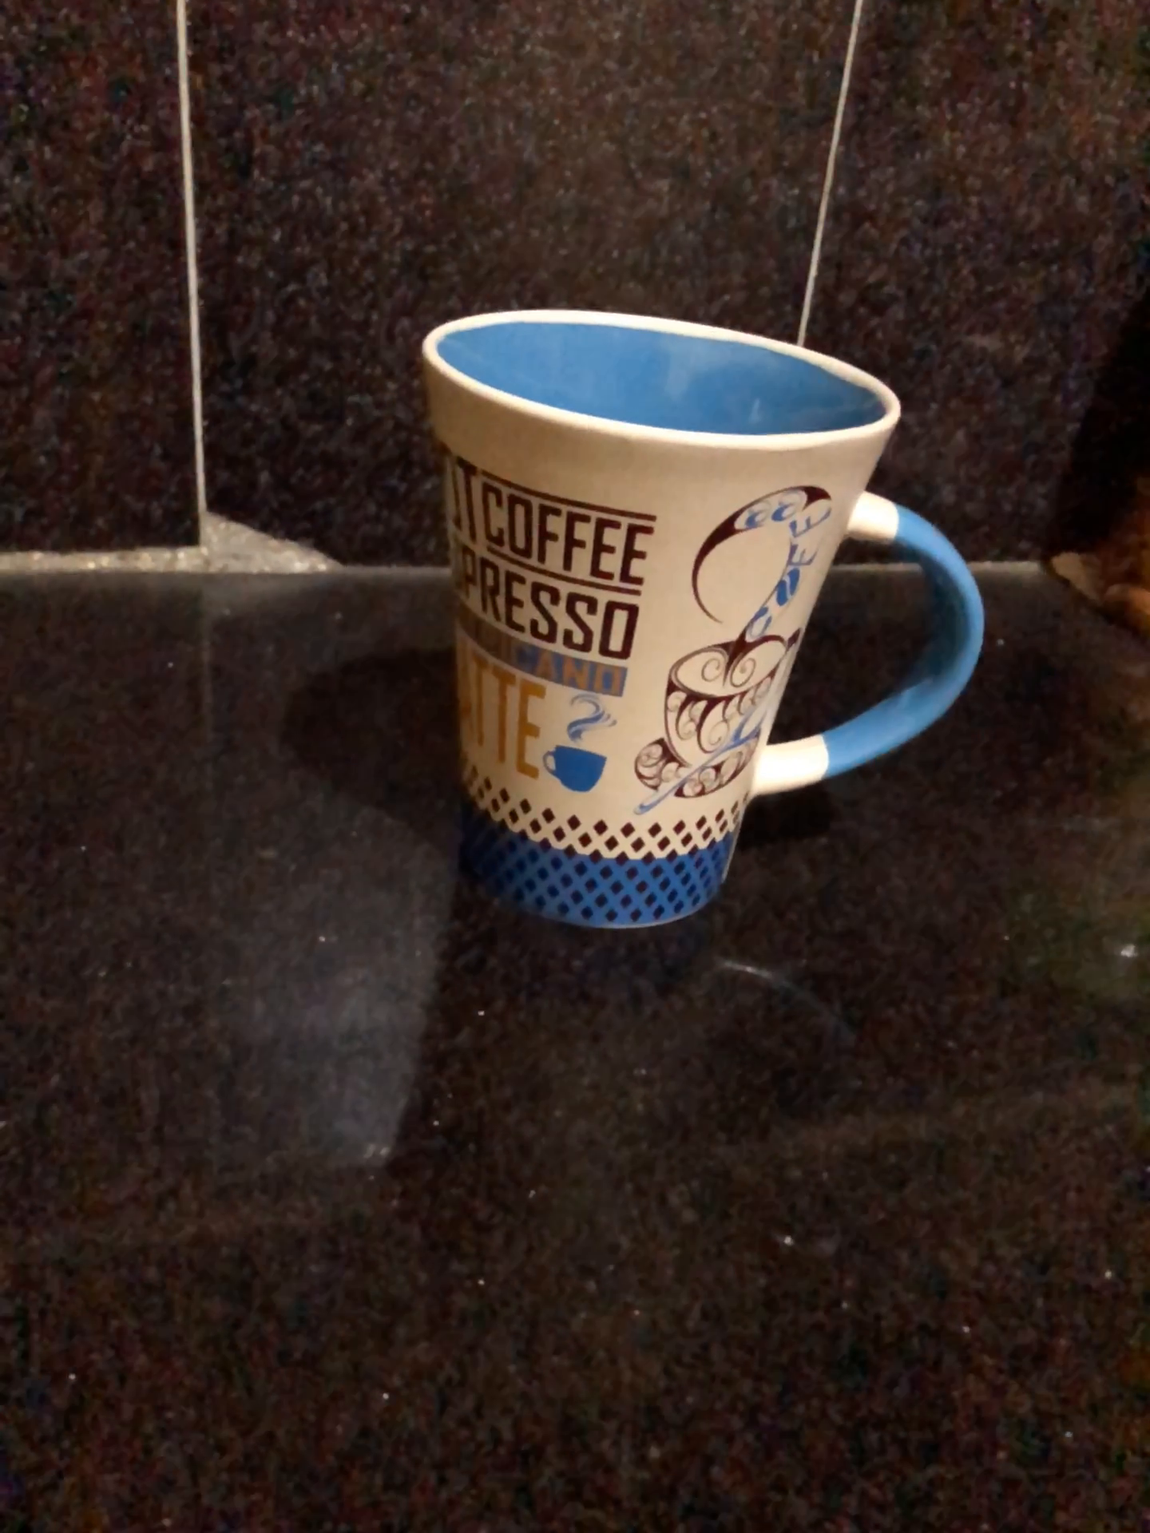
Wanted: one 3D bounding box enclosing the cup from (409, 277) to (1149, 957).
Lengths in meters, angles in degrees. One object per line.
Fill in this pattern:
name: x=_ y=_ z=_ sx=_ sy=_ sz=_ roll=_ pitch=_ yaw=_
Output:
cup: x=0.034 y=-0.033 z=0.275 sx=0.130 sy=0.109 sz=0.091 roll=3 pitch=30 yaw=-8
